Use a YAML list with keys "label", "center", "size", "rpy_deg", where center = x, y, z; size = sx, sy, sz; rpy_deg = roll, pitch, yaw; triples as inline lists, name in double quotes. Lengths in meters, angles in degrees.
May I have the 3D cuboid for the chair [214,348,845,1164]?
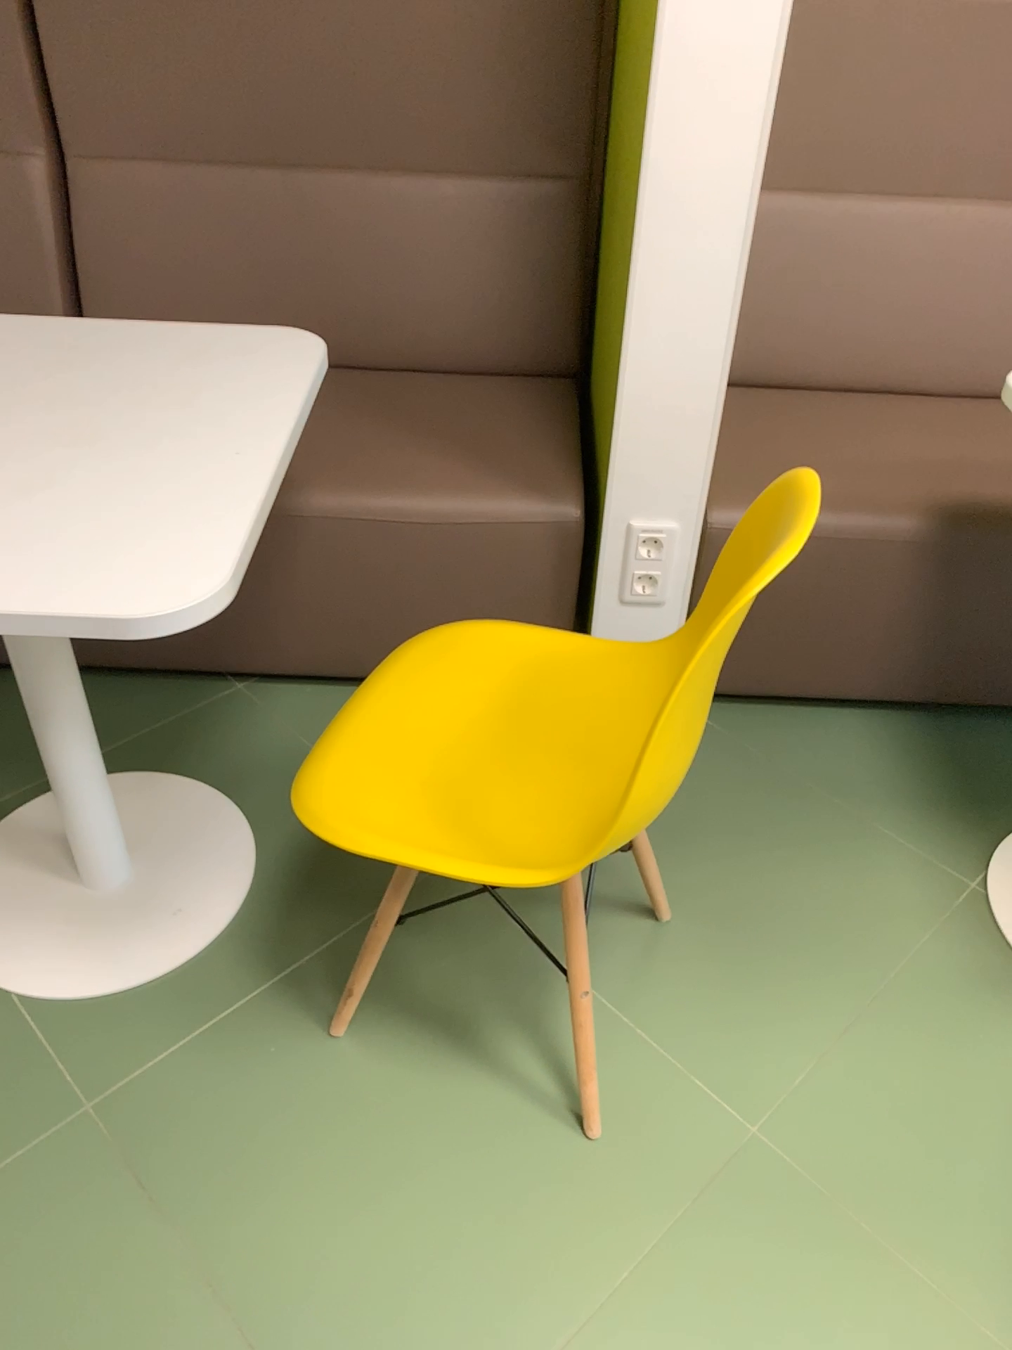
- label: "chair"
  center: [0.031, 0.111, 1.277]
  size: [0.520, 0.815, 0.412]
  rpy_deg: [15, 39, 14]
